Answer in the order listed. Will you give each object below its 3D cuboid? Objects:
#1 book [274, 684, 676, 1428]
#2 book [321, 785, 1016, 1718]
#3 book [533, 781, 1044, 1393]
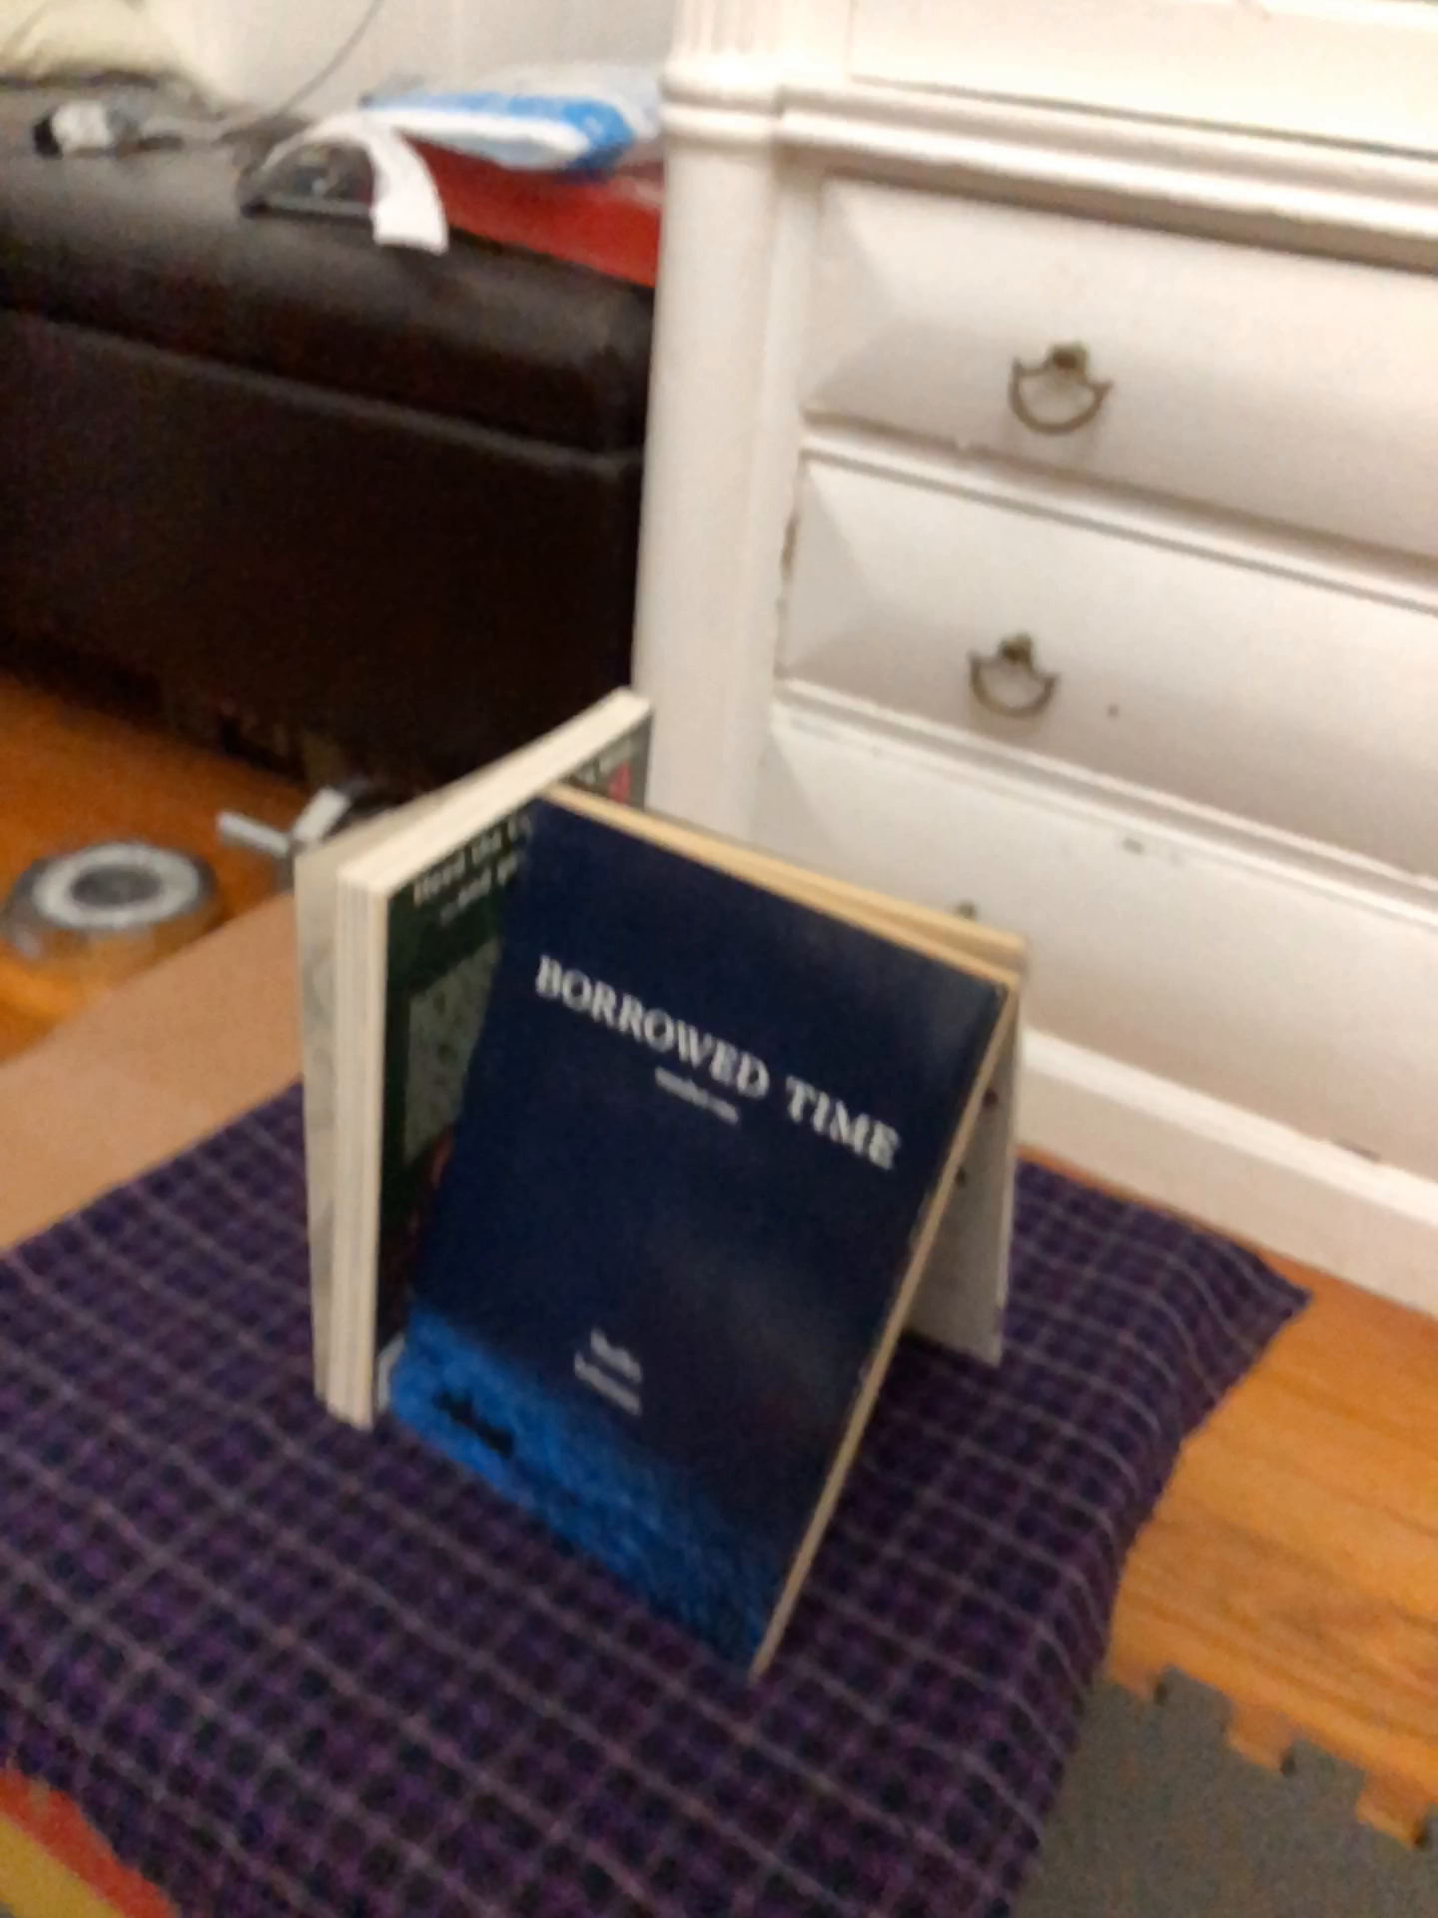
[{"bbox_3d":[-0.073,0.028,0.480,0.020,0.189,0.141,26,36,18],"label":"book"},{"bbox_3d":[-0.024,0.074,0.426,0.150,0.199,0.010,24,15,25],"label":"book"},{"bbox_3d":[0.023,0.045,0.475,0.140,0.199,0.010,20,53,24],"label":"book"}]
